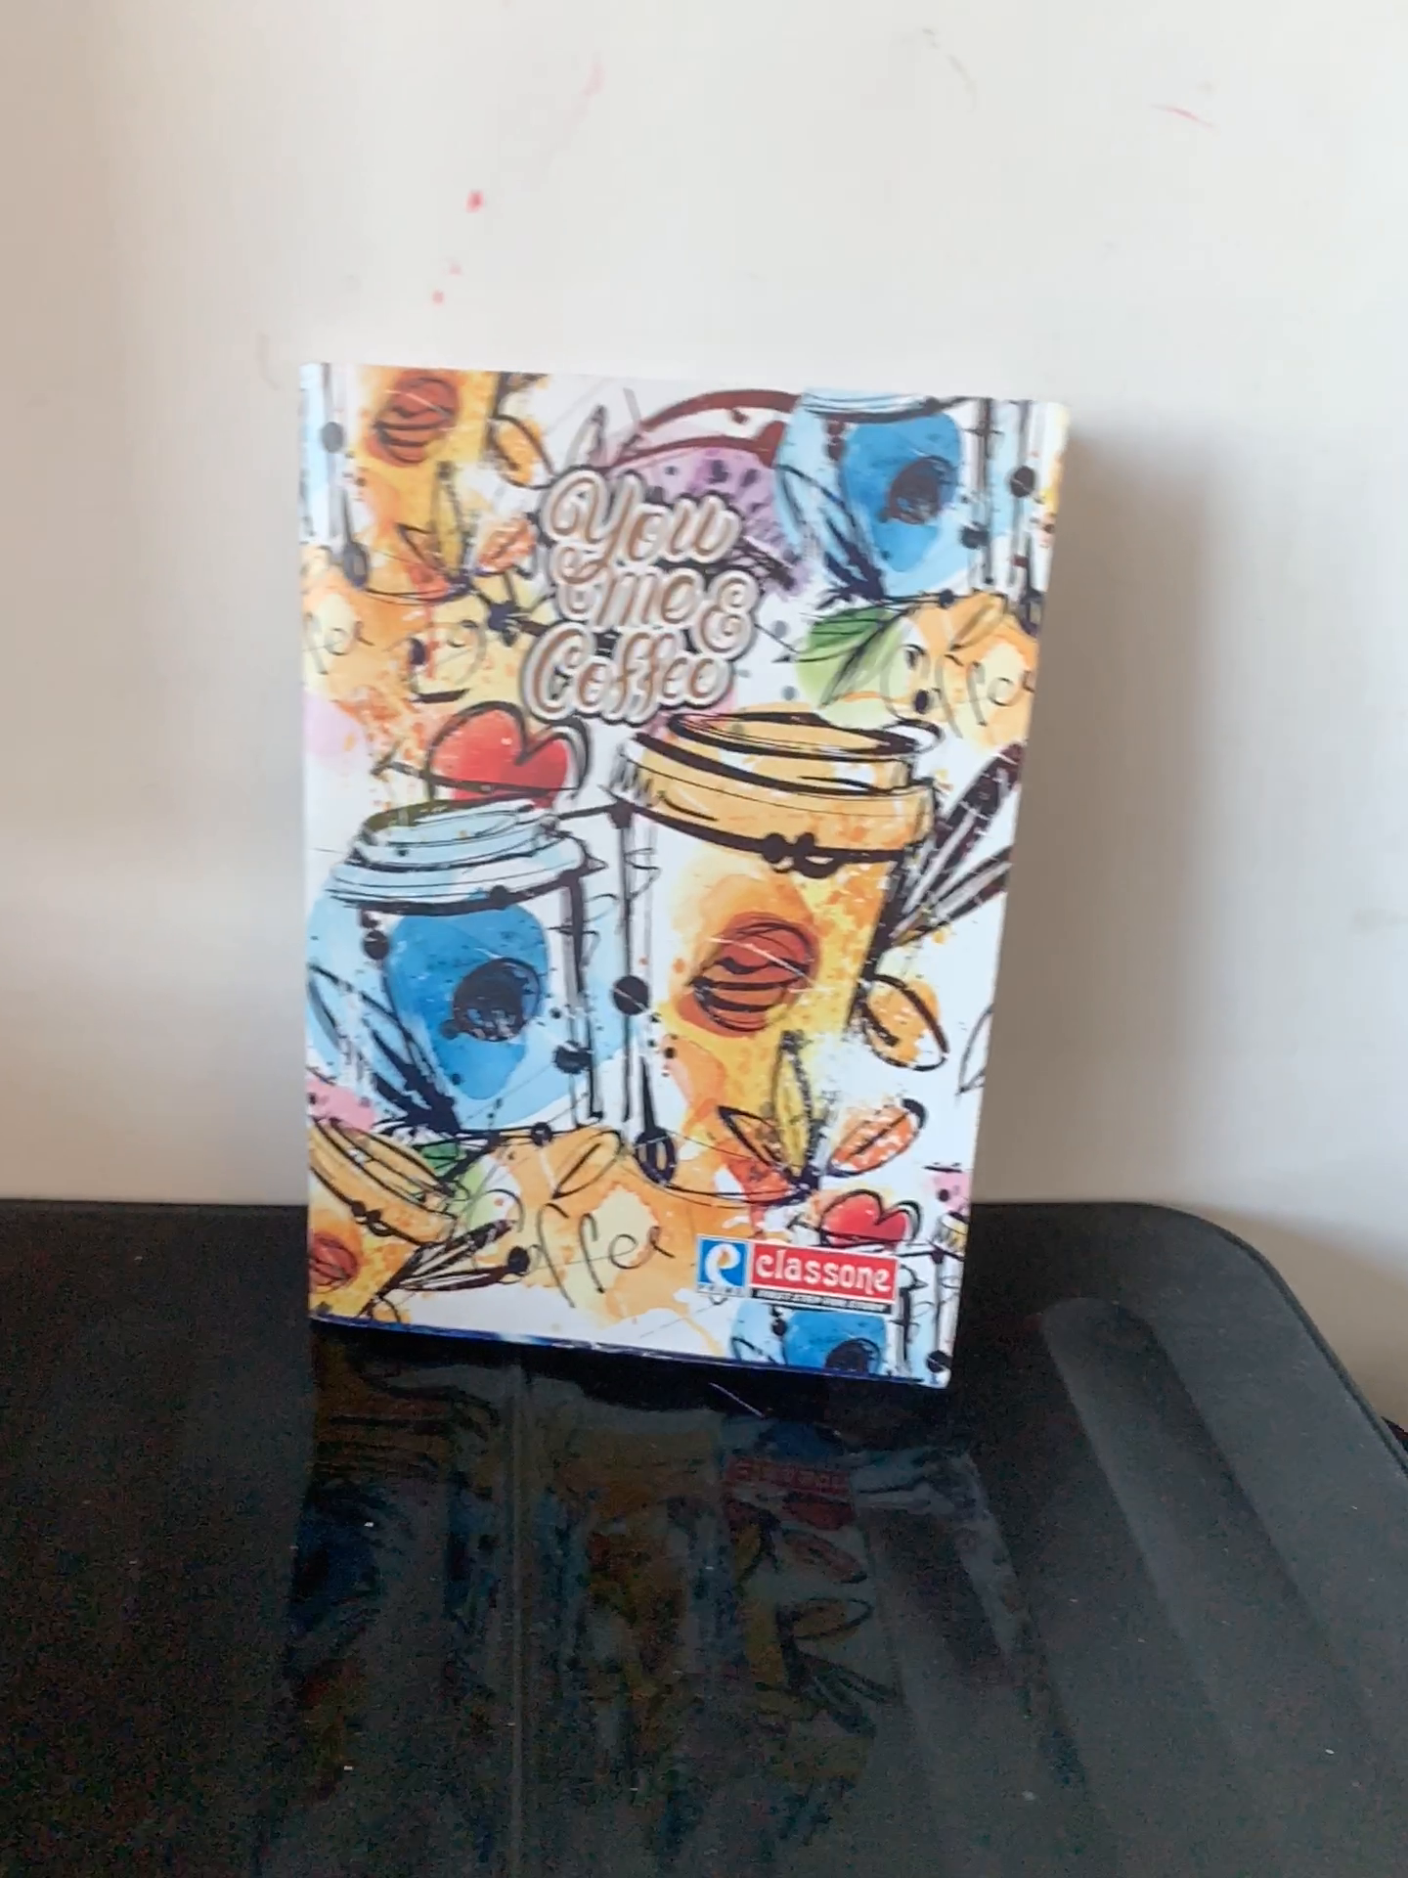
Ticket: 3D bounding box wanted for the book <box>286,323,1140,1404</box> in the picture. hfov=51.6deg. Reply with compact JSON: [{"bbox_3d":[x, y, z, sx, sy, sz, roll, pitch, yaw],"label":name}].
[{"bbox_3d":[-0.009,-0.014,0.442,0.220,0.299,0.050,5,17,0],"label":"book"}]
